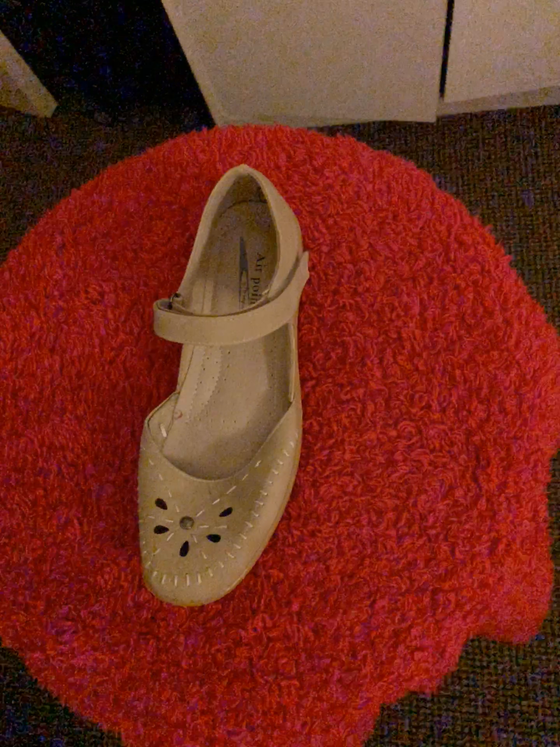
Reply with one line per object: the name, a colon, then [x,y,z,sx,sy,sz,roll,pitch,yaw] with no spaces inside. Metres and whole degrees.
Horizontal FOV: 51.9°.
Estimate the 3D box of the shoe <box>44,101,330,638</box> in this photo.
shoe: [-0.042,-0.015,0.360,0.095,0.080,0.306,6,74,13]
